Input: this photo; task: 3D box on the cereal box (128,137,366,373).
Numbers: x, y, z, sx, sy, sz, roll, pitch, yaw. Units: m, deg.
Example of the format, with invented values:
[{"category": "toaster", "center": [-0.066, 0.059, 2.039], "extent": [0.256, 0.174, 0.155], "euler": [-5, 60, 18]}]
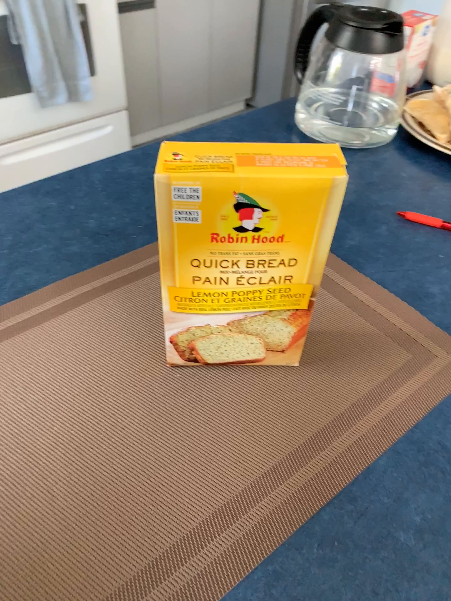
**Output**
[{"category": "cereal box", "center": [0.008, -0.019, 0.329], "extent": [0.130, 0.178, 0.040], "euler": [1, 44, -3]}]
